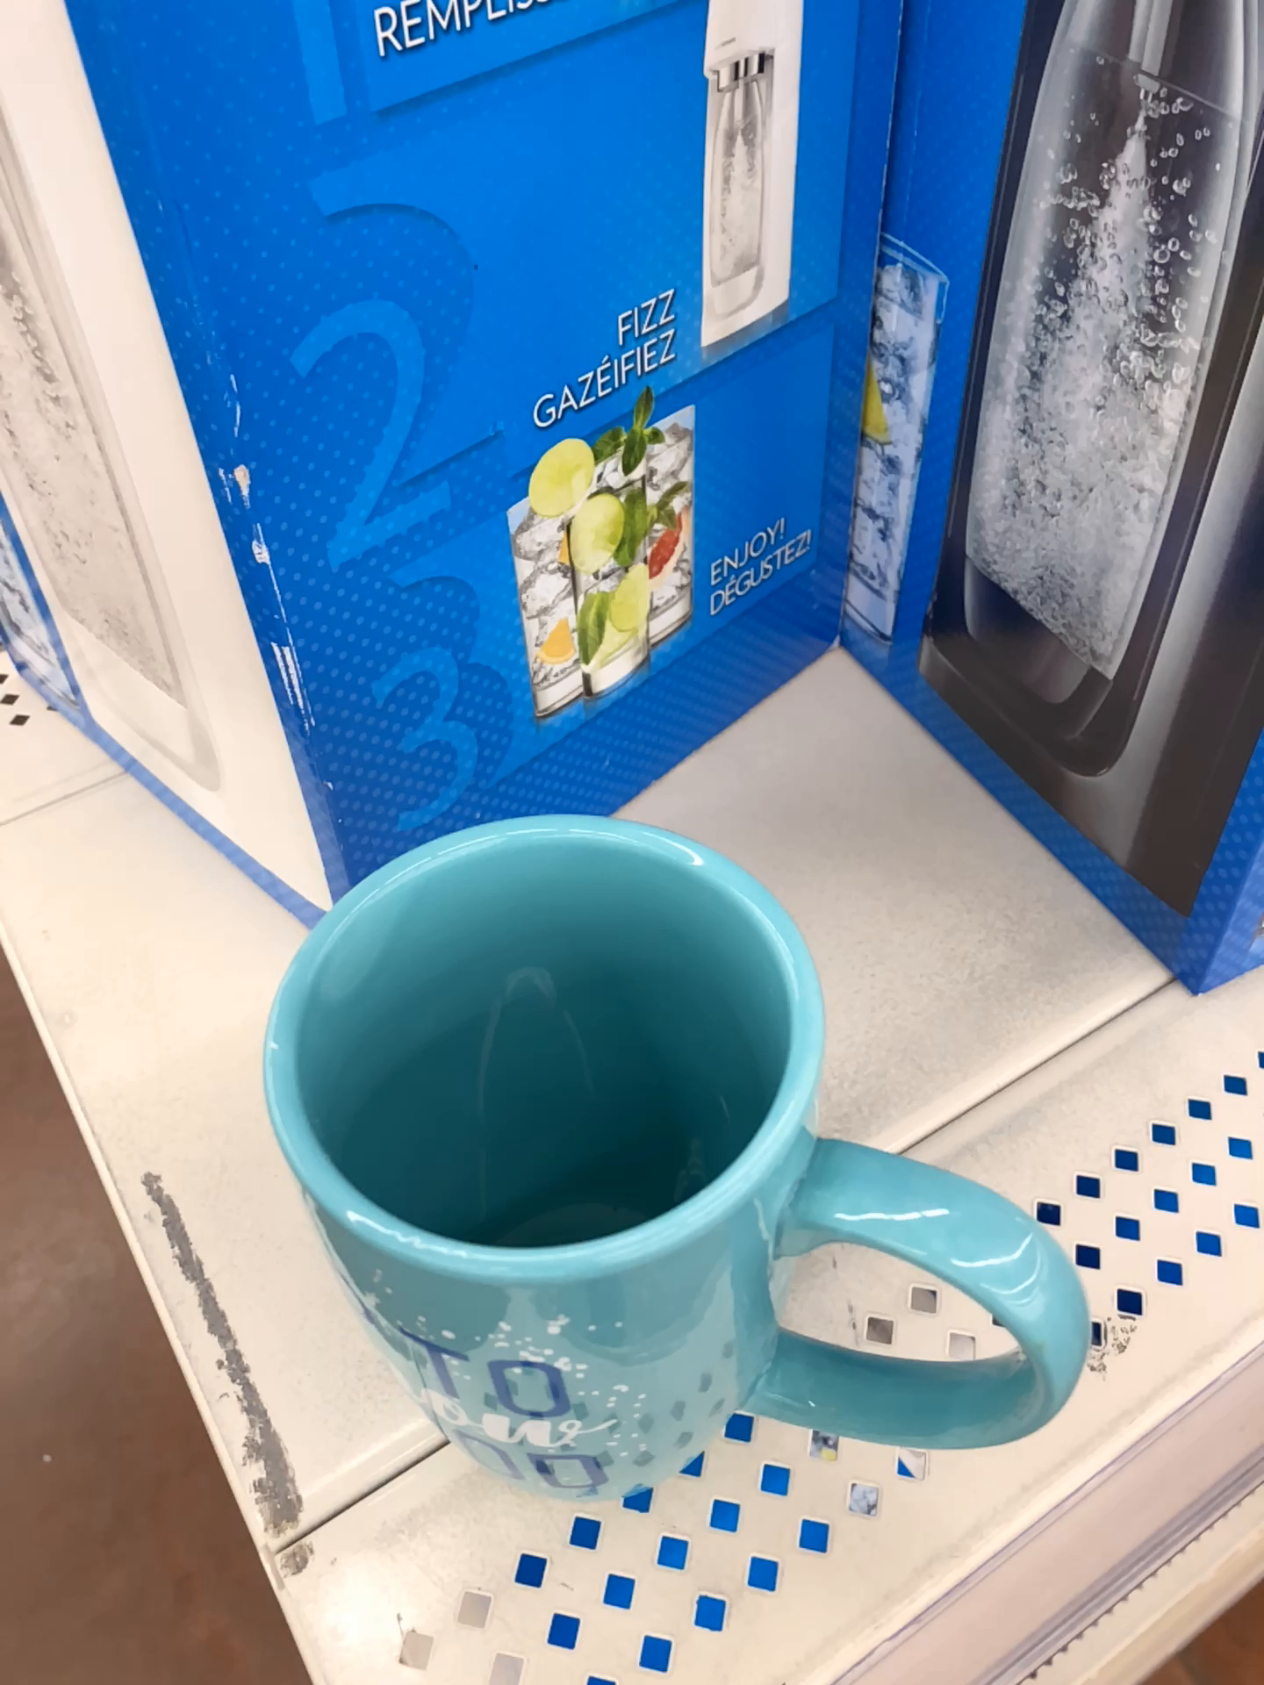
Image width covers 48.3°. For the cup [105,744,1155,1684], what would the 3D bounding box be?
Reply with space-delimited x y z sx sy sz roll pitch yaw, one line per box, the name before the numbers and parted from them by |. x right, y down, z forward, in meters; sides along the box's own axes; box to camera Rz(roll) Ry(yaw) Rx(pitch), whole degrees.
cup | 0.006 0.068 0.259 0.140 0.120 0.090 12 48 13
